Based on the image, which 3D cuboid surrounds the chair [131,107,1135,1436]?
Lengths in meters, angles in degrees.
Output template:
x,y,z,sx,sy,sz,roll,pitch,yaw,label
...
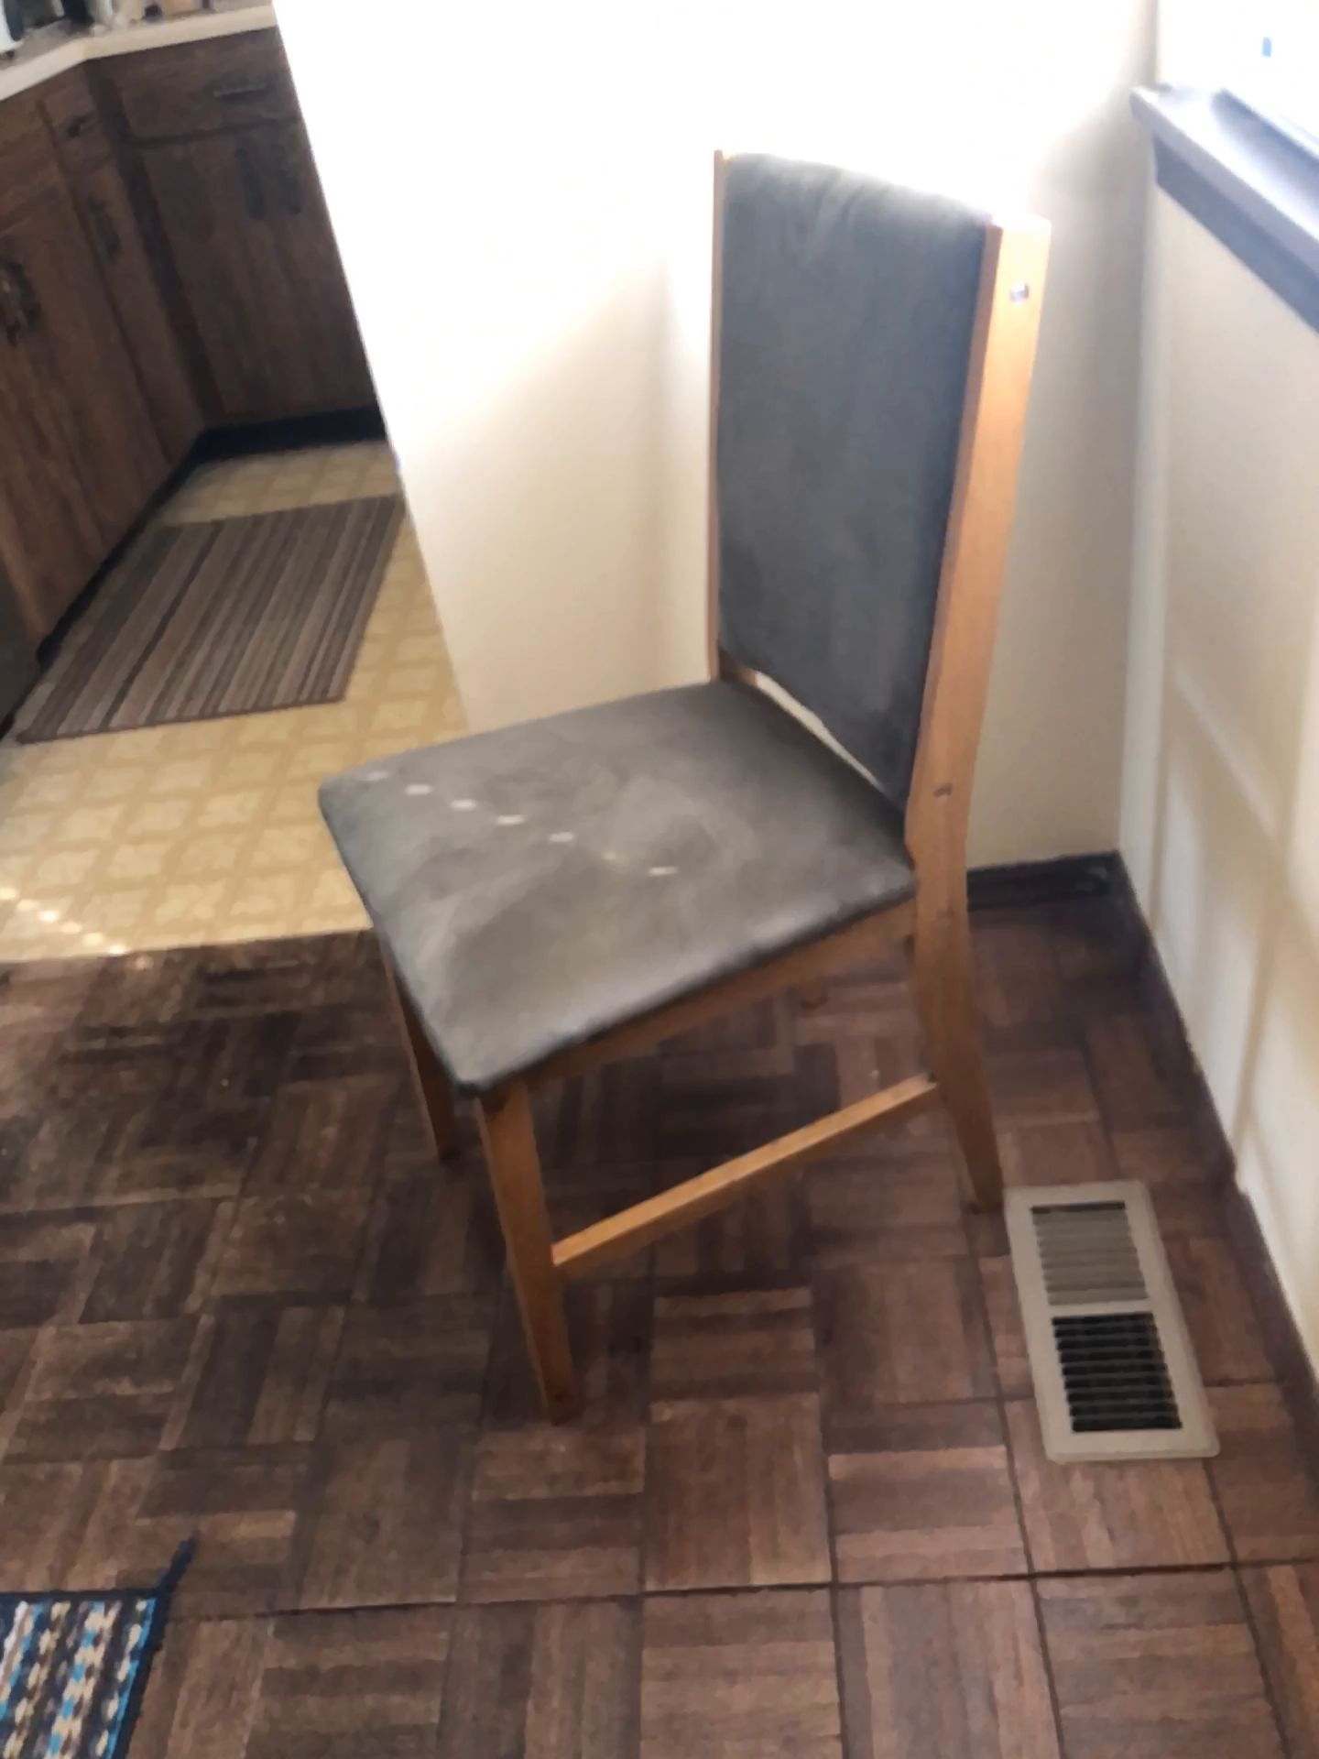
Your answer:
x,y,z,sx,sy,sz,roll,pitch,yaw,label
-0.020,-0.095,1.210,0.510,0.858,0.491,-18,37,-16,chair
